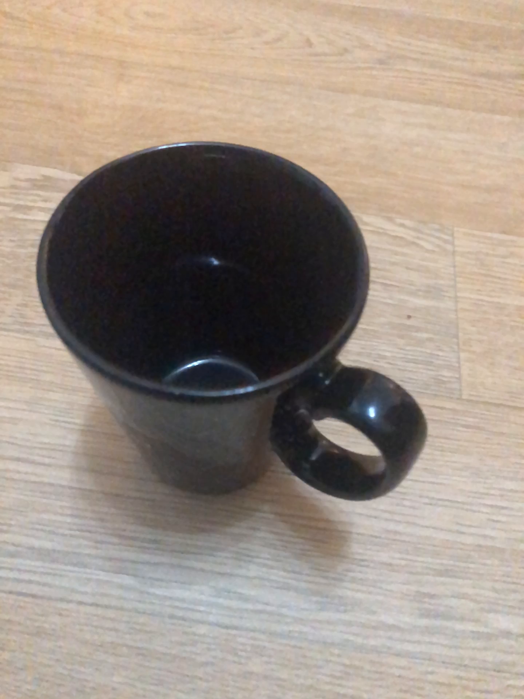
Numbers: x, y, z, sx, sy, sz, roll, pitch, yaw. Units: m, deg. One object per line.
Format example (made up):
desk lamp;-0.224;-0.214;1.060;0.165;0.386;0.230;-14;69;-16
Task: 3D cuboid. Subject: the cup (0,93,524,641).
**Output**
cup;-0.002;0.005;0.182;0.120;0.090;0.090;36;62;17
